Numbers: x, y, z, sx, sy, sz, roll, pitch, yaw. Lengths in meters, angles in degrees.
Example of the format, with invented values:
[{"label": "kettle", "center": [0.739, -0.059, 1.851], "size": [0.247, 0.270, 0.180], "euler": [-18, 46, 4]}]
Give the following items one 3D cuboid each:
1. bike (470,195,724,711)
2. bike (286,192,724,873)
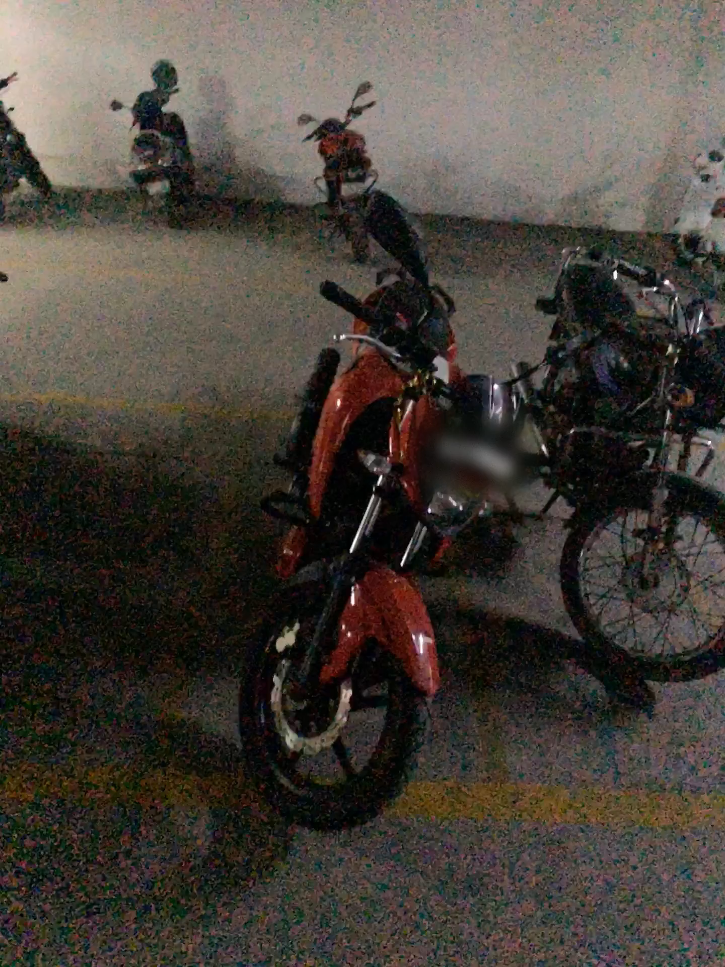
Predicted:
[{"label": "bike", "center": [0.927, -0.239, 2.422], "size": [0.673, 0.934, 1.574], "euler": [2, 32, -7]}, {"label": "bike", "center": [0.208, -0.047, 2.133], "size": [0.801, 1.007, 1.701], "euler": [2, 34, -7]}]
